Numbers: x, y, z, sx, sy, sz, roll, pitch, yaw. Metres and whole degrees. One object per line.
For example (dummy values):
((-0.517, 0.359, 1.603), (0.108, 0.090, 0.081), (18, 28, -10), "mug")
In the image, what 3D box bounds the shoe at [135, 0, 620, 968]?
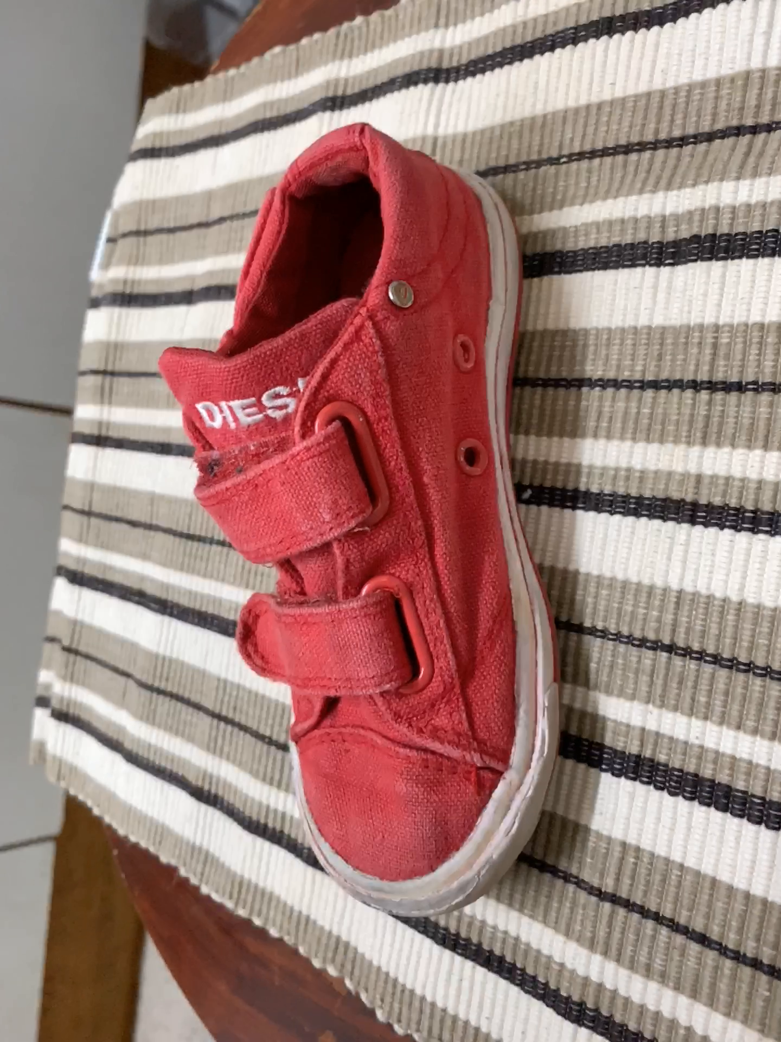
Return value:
((-0.003, -0.010, 0.188), (0.080, 0.070, 0.170), (-5, 82, 41), "shoe")
